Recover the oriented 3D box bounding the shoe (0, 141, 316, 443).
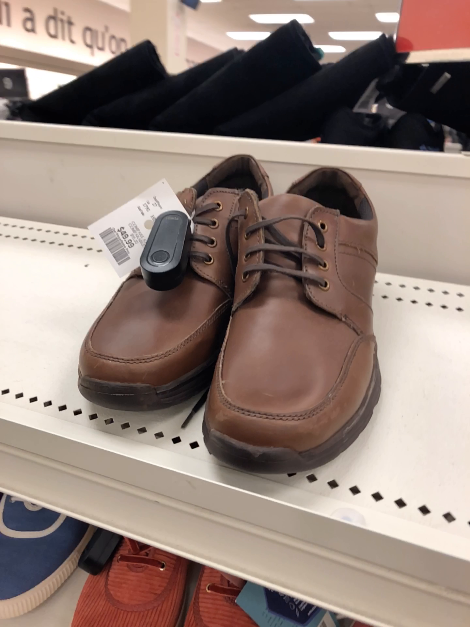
[{"bbox_3d":[-0.033,-0.056,0.420,0.120,0.109,0.332,10,28,18],"label":"shoe"}]

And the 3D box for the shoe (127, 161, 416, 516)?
[{"bbox_3d":[0.061,-0.031,0.382,0.120,0.109,0.342,9,25,16],"label":"shoe"}]
